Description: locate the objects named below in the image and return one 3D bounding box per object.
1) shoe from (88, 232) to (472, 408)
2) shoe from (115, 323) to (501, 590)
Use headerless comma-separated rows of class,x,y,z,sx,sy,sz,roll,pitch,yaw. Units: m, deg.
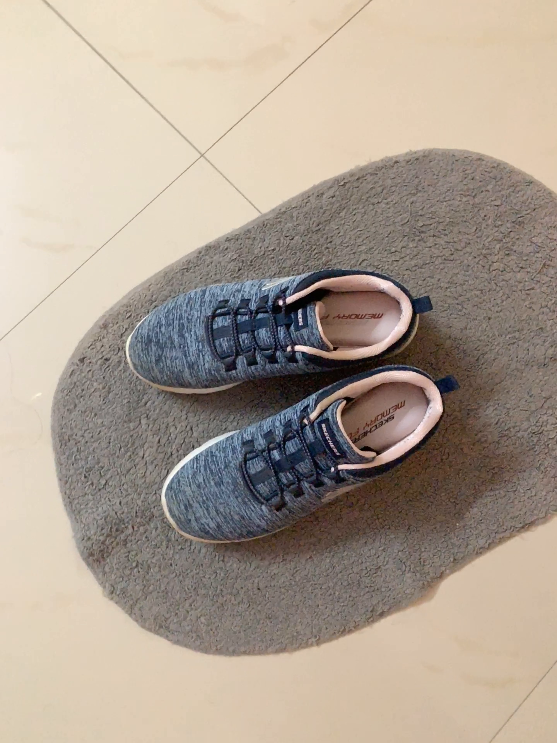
shoe,0.000,-0.037,0.467,0.270,0.100,0.090,-8,85,-5
shoe,0.024,0.070,0.501,0.290,0.100,0.100,-23,83,-6
